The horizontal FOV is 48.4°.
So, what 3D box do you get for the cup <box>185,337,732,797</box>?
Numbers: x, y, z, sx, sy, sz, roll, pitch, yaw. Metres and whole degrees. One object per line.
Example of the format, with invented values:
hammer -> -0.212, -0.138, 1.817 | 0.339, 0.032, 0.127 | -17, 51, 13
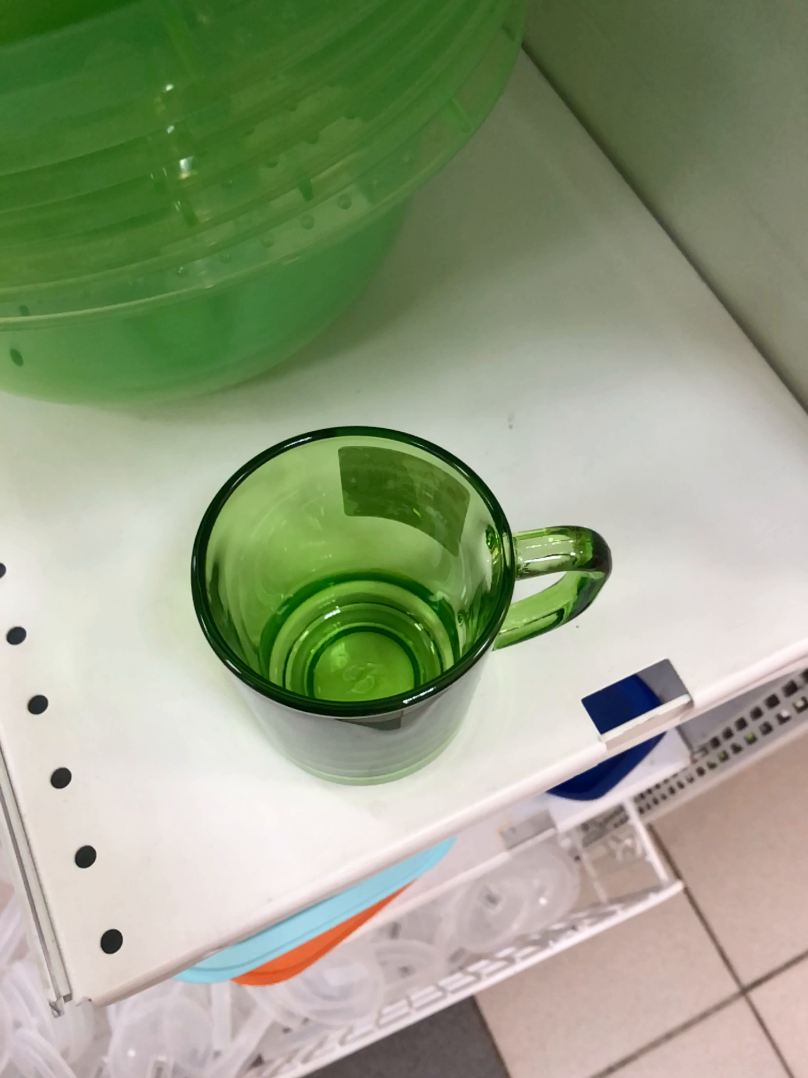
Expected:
cup -> 0.010, 0.012, 0.246 | 0.110, 0.086, 0.073 | -15, 66, -6
